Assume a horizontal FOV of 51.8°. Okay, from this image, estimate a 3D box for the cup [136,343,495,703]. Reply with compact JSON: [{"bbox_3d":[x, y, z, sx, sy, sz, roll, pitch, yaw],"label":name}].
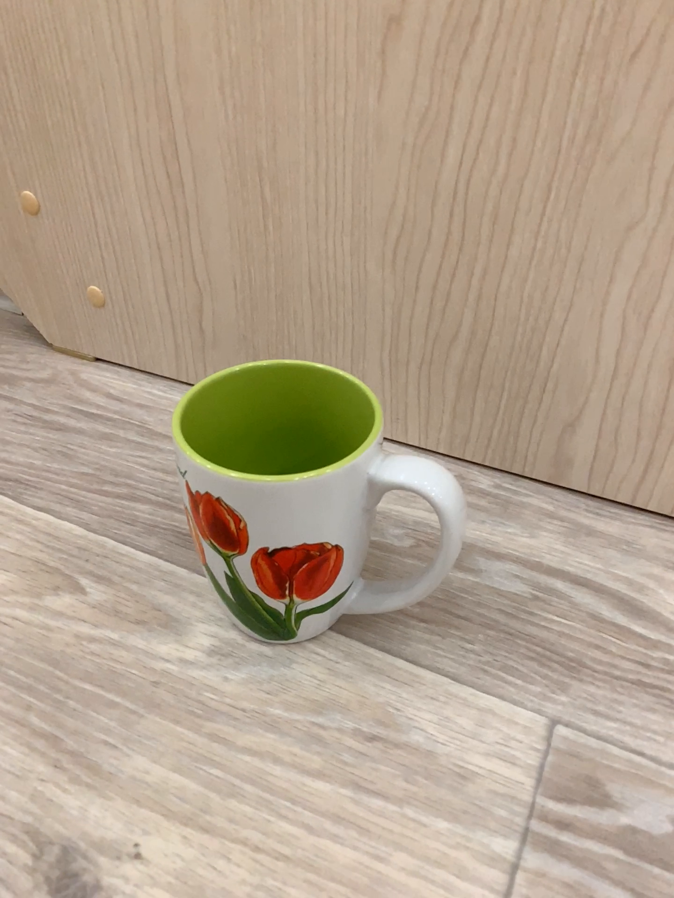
[{"bbox_3d":[-0.004,0.028,0.300,0.118,0.101,0.084,12,38,14],"label":"cup"}]
